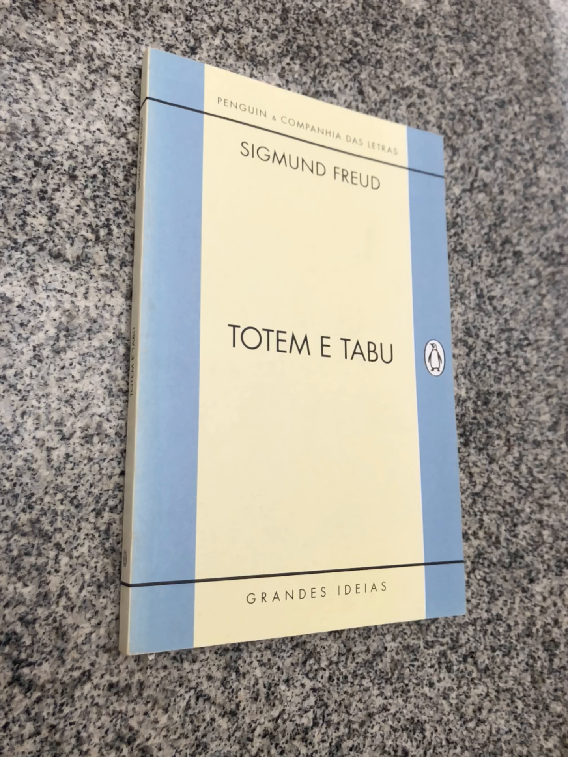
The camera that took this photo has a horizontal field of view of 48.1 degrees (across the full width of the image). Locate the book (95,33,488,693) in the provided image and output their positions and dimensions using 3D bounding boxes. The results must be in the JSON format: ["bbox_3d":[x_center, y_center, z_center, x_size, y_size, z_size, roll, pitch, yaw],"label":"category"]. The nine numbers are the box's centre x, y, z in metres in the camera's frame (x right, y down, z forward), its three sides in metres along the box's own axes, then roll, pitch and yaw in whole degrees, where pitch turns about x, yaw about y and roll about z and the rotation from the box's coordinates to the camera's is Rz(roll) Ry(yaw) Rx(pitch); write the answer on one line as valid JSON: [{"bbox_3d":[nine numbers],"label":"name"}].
[{"bbox_3d":[0.009,-0.007,0.216,0.131,0.015,0.191,5,78,-27],"label":"book"}]
